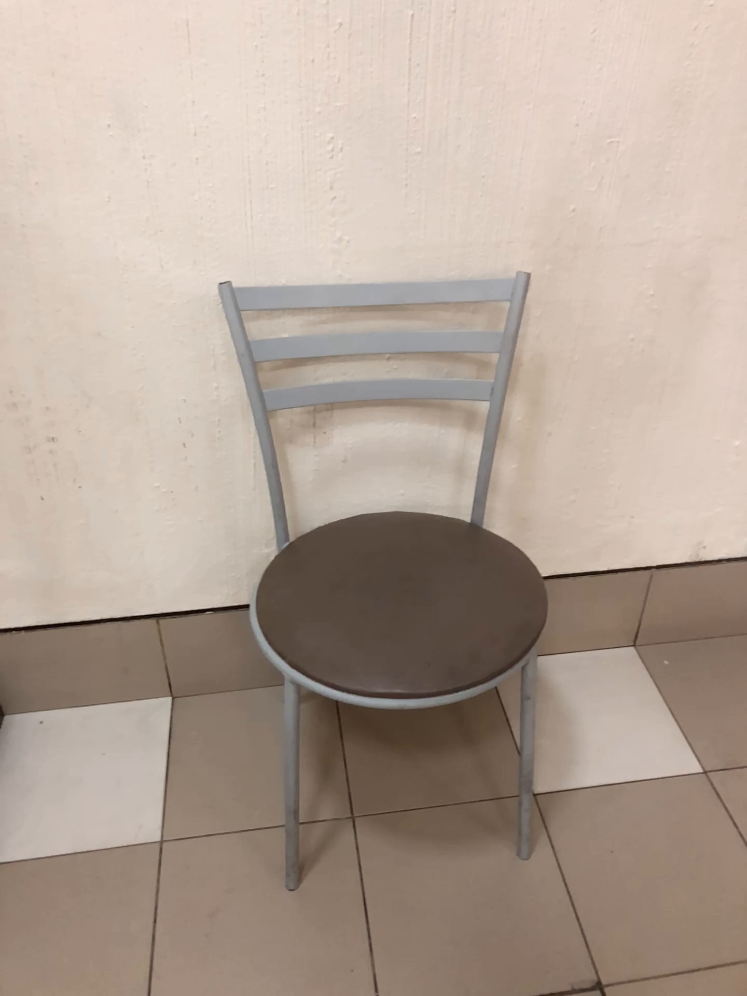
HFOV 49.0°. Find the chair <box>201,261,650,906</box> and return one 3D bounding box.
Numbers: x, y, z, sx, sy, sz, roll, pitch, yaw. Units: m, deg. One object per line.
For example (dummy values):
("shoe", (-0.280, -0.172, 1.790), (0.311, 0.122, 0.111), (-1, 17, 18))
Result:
("chair", (0.023, 0.125, 1.154), (0.430, 0.764, 0.423), (-5, 34, -8))
